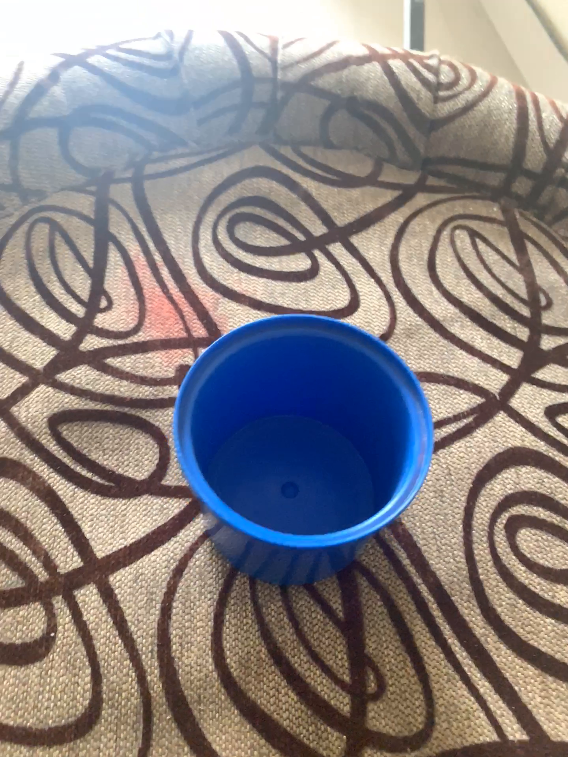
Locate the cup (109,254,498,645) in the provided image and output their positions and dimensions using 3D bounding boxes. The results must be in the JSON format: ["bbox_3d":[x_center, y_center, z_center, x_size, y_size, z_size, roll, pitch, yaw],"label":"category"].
[{"bbox_3d":[0.004,0.024,0.202,0.080,0.070,0.080,2,59,-3],"label":"cup"}]
